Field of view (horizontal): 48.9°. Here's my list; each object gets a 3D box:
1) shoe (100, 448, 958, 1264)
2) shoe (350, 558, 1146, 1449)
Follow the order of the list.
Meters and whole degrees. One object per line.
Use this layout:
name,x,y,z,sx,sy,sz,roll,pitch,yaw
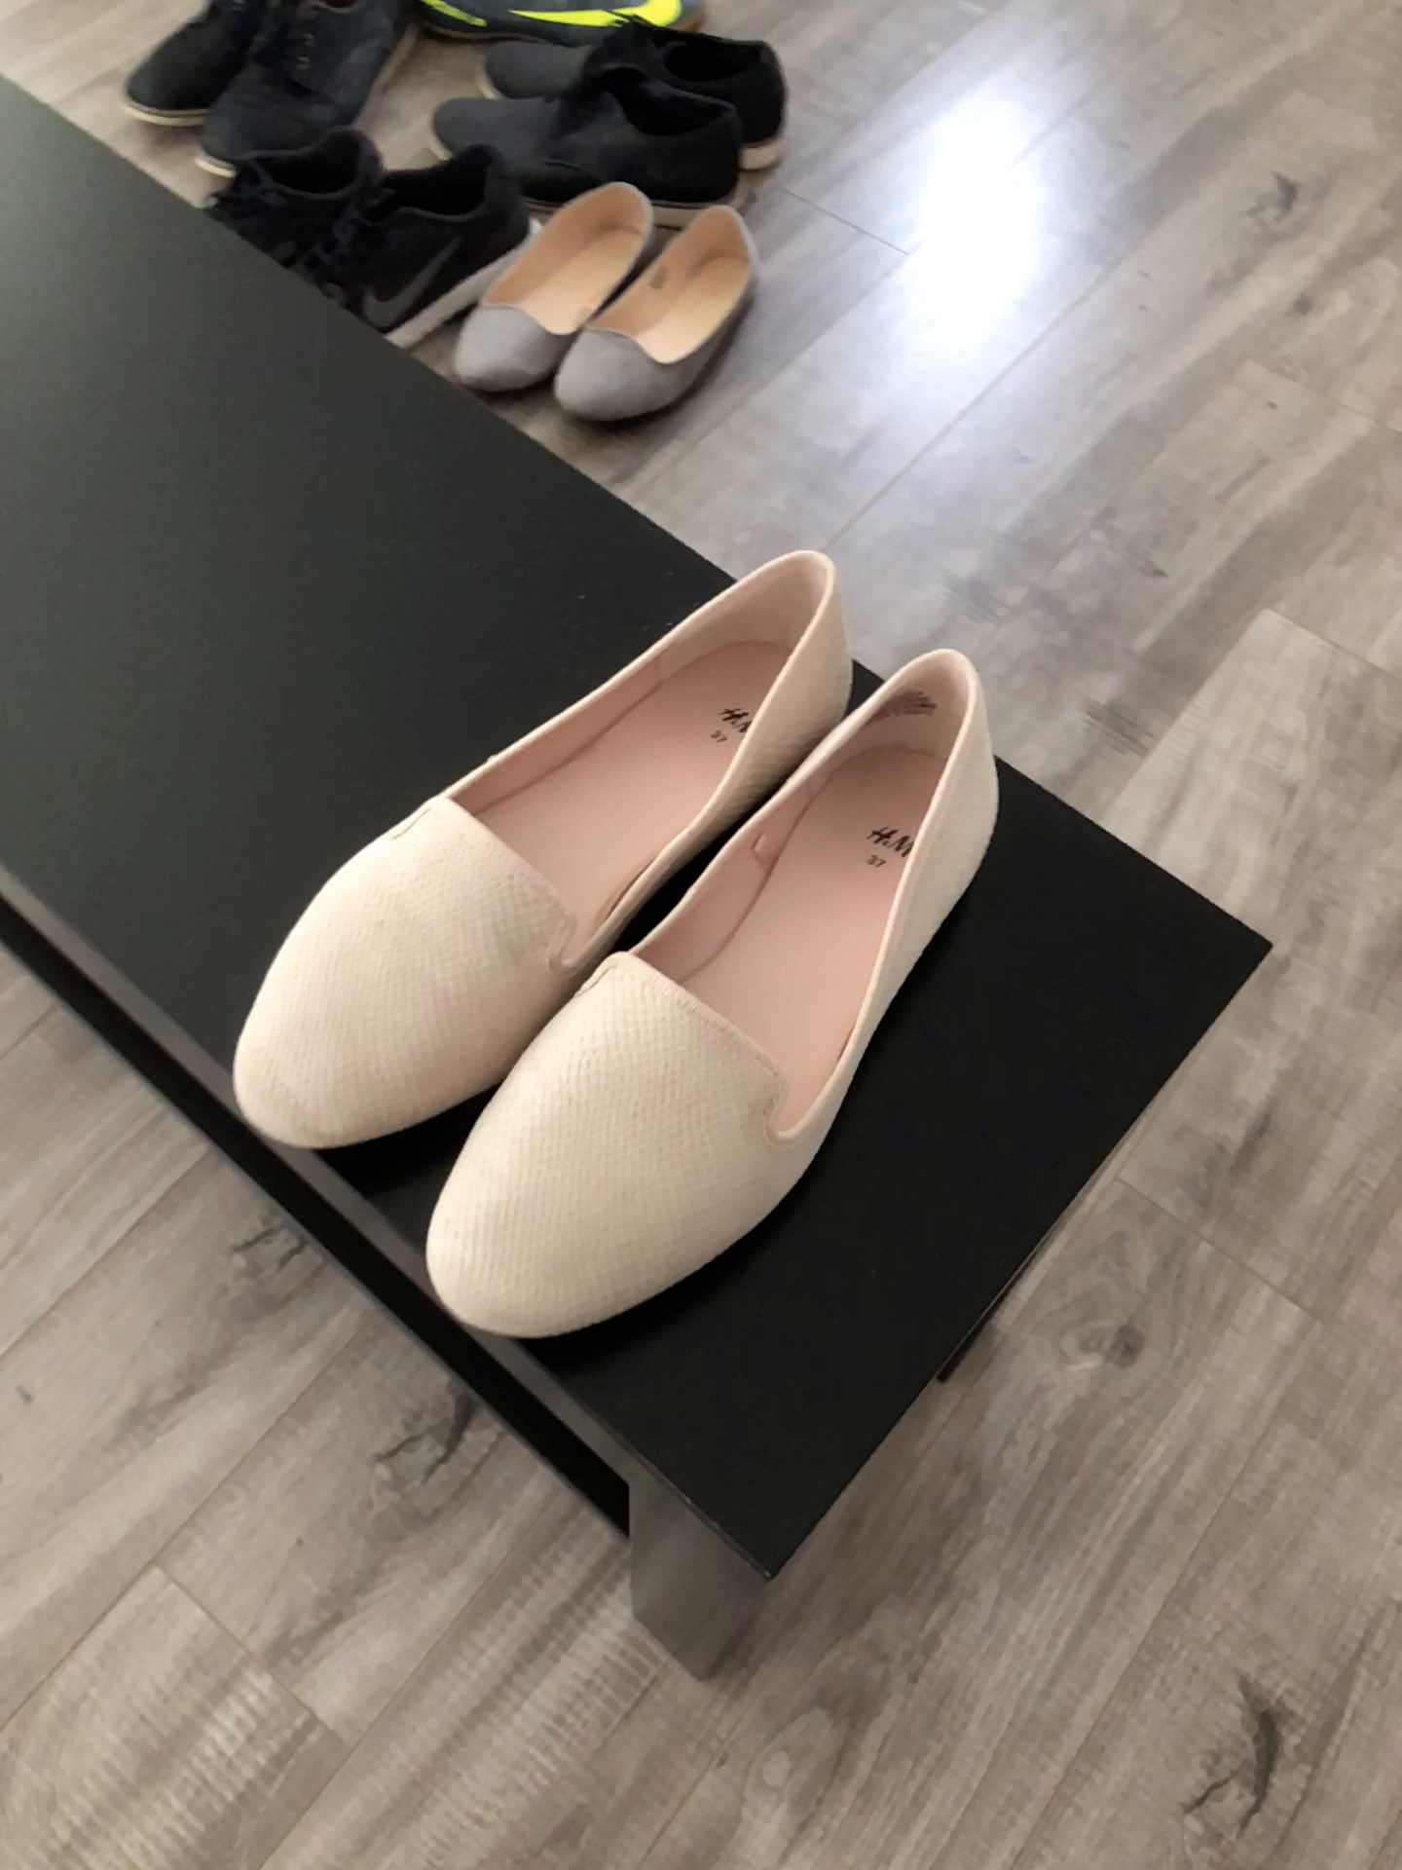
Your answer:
shoe,-0.040,-0.033,0.473,0.090,0.070,0.259,38,65,17
shoe,0.022,0.010,0.447,0.080,0.070,0.259,34,64,15
